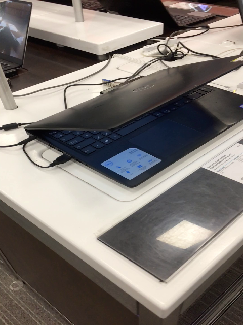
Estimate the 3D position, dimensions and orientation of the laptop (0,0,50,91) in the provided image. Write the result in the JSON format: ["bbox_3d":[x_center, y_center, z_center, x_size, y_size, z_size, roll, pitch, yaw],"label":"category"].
[{"bbox_3d":[-0.473,-0.377,0.954,0.311,0.160,0.290,-35,52,-27],"label":"laptop"}]

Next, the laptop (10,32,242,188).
[{"bbox_3d":[0.062,-0.133,0.644,0.392,0.107,0.271,-33,51,-28],"label":"laptop"}]
